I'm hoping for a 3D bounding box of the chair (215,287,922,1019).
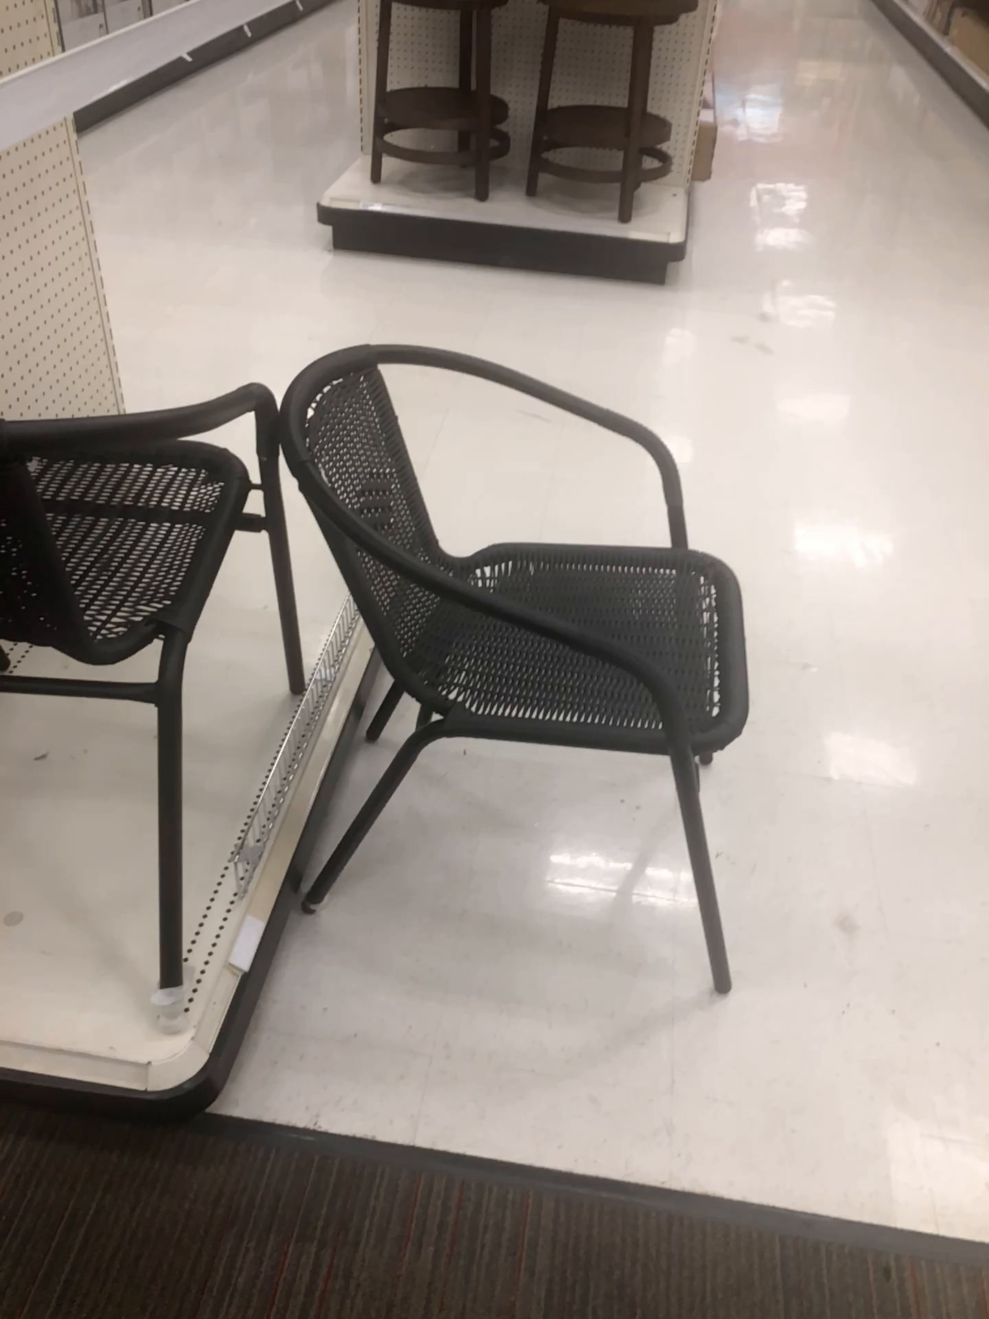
[{"bbox_3d":[0.088,-0.021,1.394,0.640,0.696,0.533,6,37,6],"label":"chair"}]
